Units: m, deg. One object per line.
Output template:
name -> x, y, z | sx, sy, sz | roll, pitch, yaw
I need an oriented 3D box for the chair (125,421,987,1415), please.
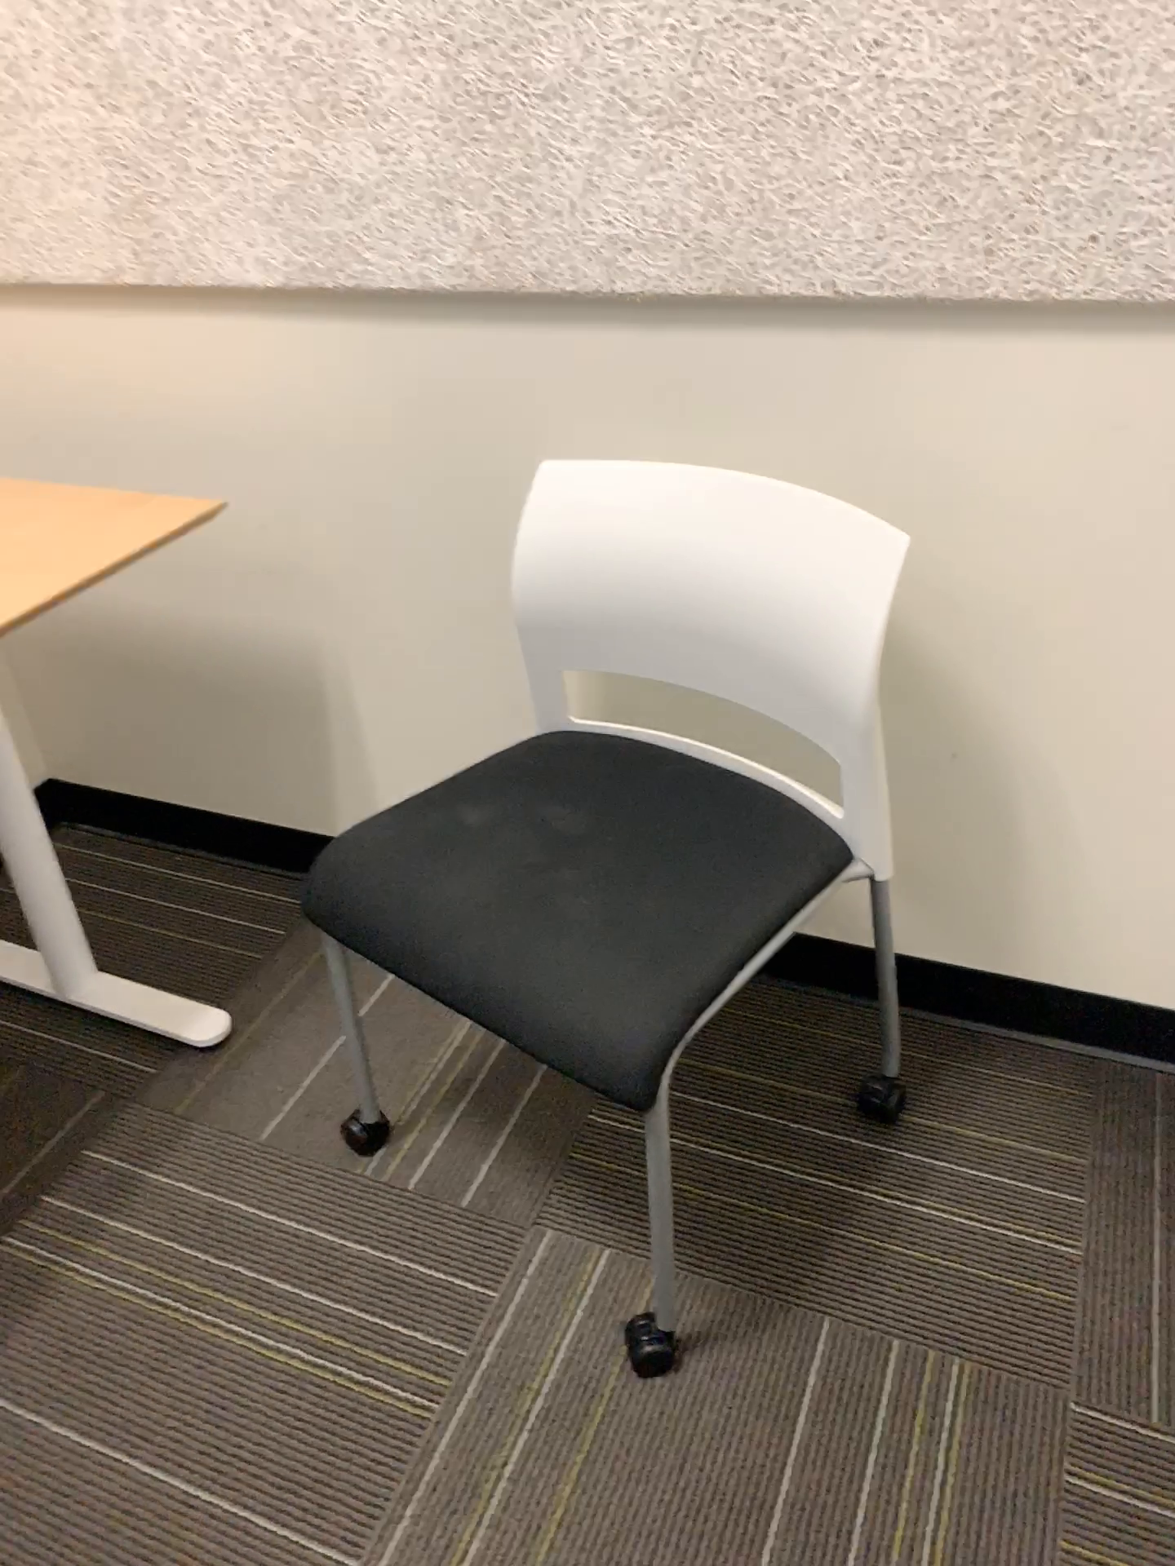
chair -> -0.002, 0.089, 1.299 | 0.583, 0.735, 0.541 | 21, 41, 35
